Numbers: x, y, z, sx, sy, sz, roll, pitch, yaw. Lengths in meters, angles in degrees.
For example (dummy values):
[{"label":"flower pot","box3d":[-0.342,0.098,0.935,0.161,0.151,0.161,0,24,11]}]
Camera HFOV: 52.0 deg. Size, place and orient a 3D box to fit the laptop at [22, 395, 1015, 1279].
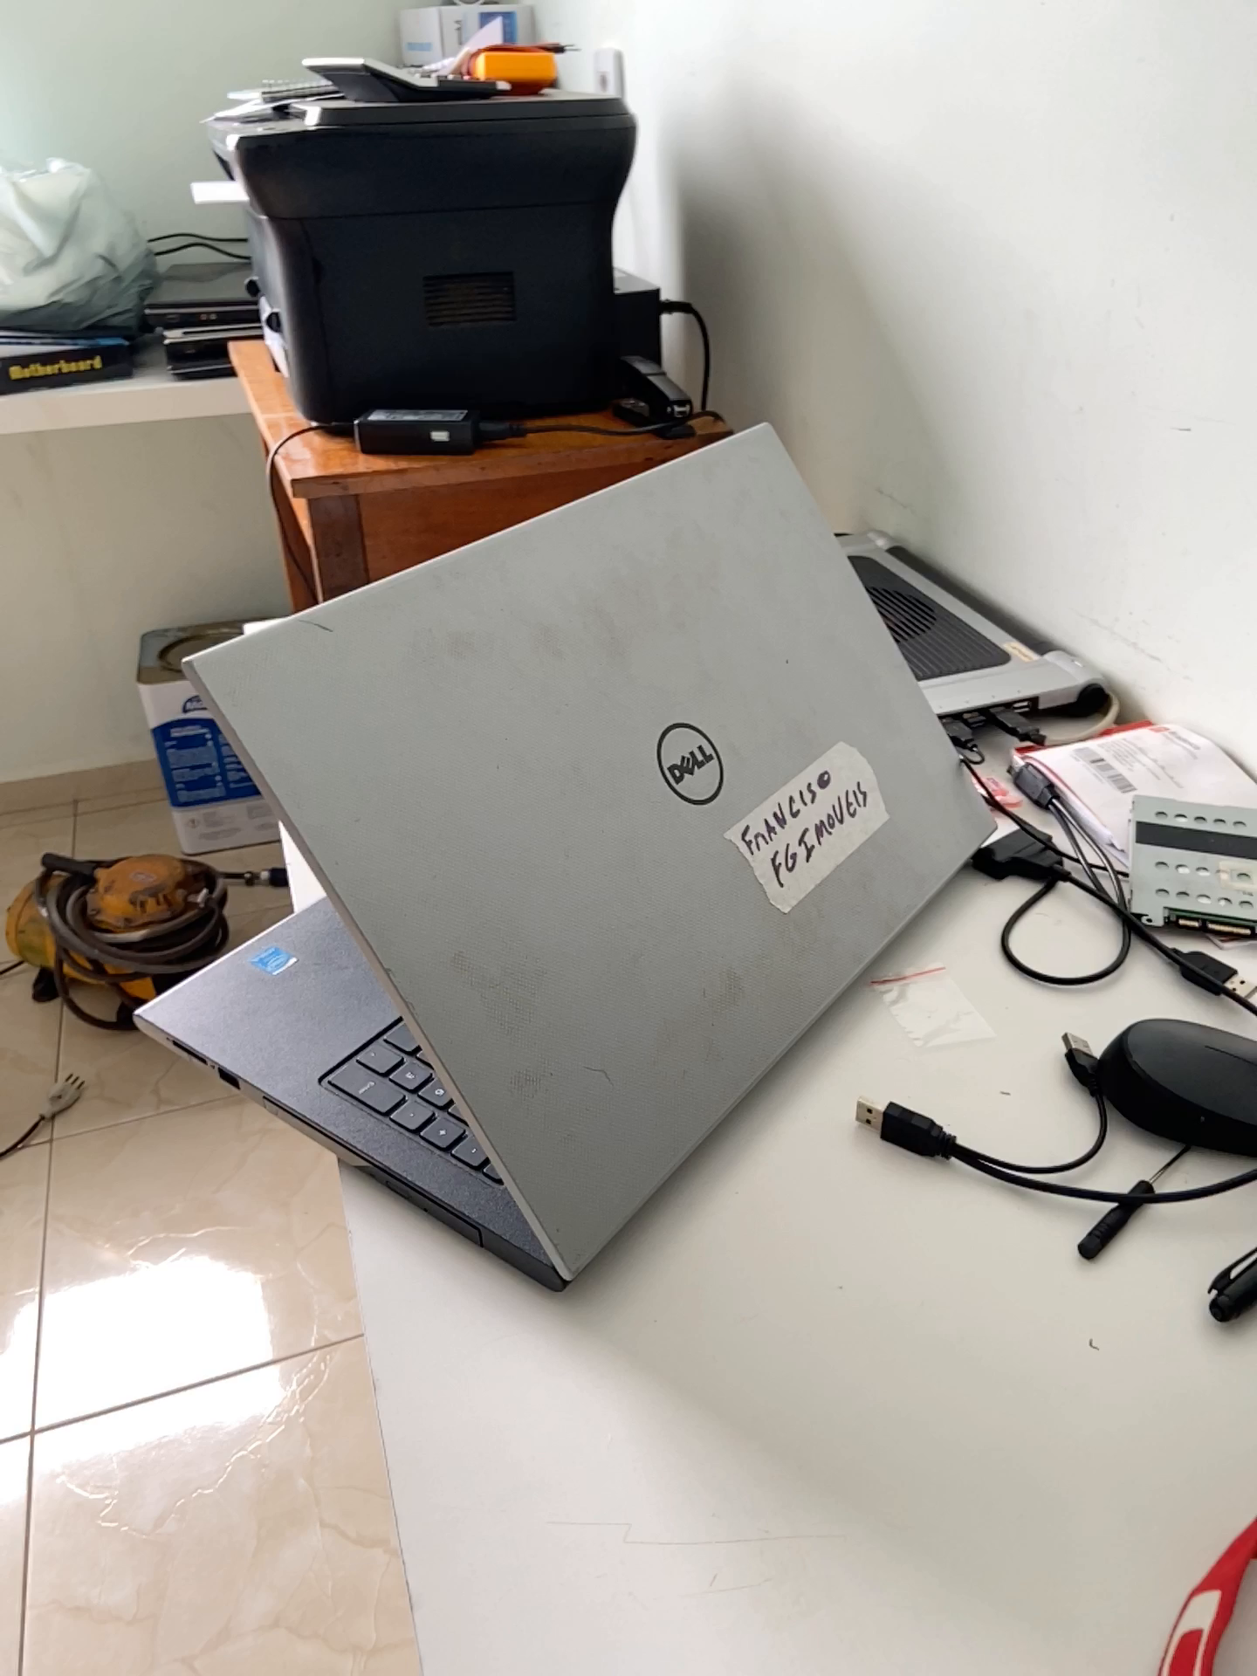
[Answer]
[{"label":"laptop","box3d":[-0.023,-0.048,0.617,0.257,0.204,0.376,20,39,31]}]
